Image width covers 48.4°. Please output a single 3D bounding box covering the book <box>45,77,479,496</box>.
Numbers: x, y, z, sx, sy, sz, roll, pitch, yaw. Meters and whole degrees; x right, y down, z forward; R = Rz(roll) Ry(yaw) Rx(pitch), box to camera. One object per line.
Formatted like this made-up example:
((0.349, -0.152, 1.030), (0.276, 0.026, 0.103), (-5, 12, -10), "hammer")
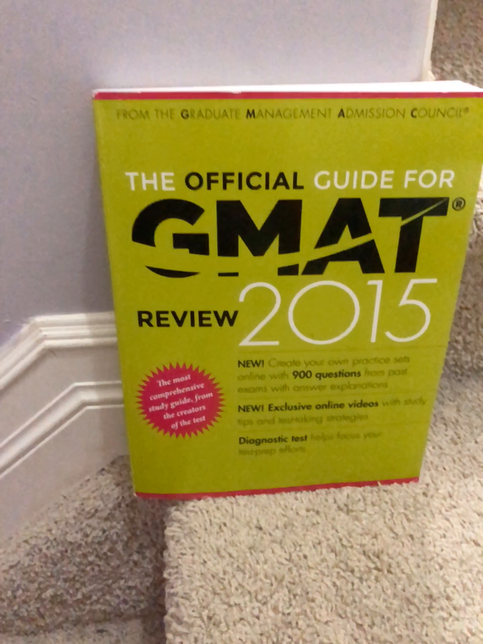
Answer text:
((0.015, -0.012, 0.365), (0.235, 0.277, 0.040), (-3, 24, -3), "book")
